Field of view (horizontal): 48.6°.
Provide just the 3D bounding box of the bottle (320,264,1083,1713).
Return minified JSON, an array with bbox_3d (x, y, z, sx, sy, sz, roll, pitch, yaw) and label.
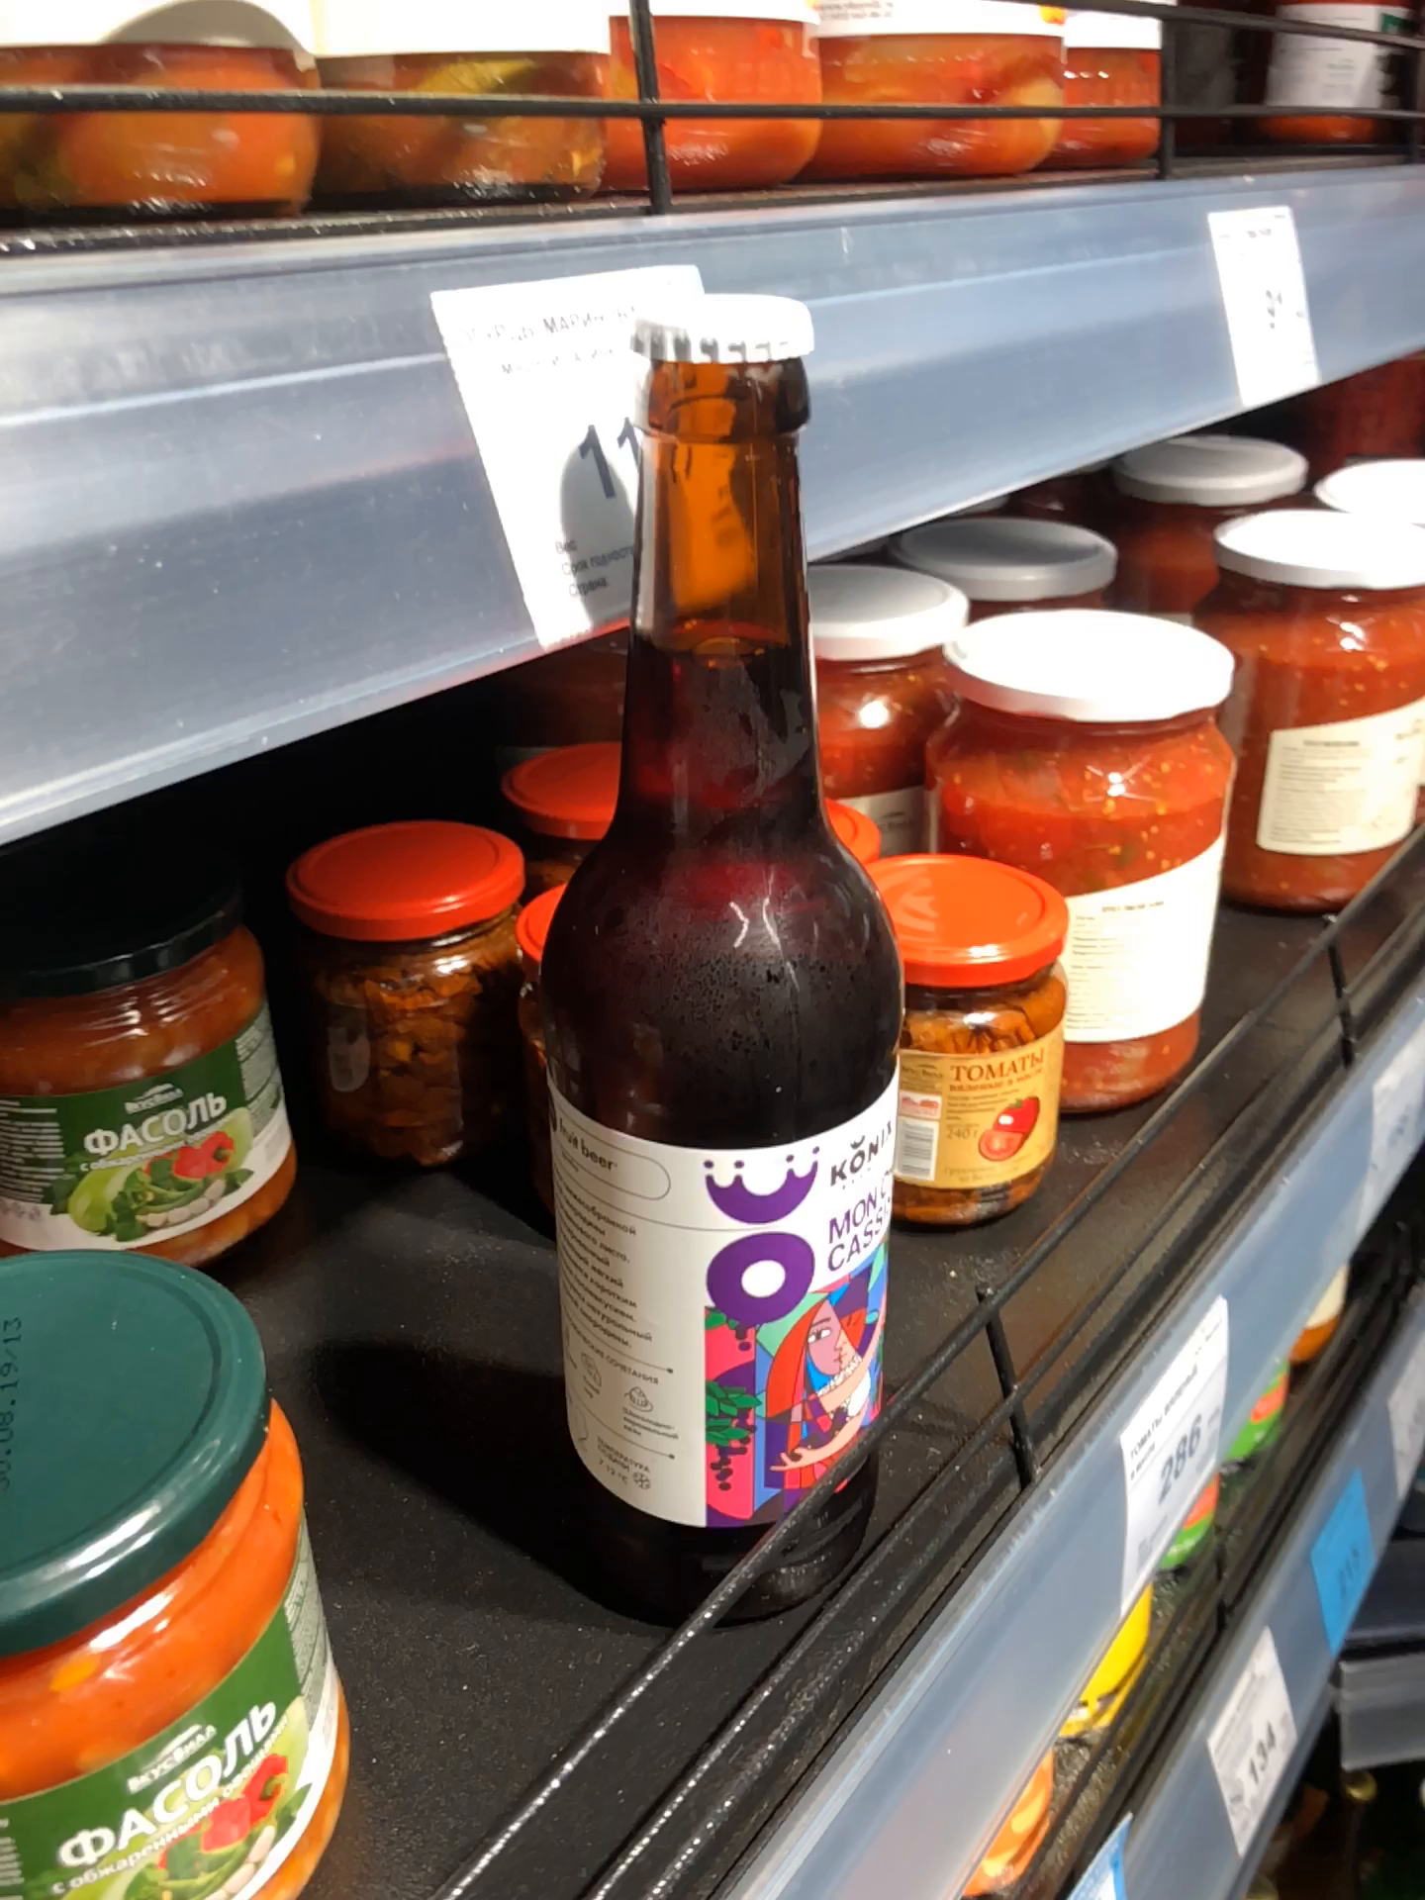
[{"bbox_3d":[-0.002,0.009,0.288,0.080,0.239,0.080,0,27,0],"label":"bottle"}]
